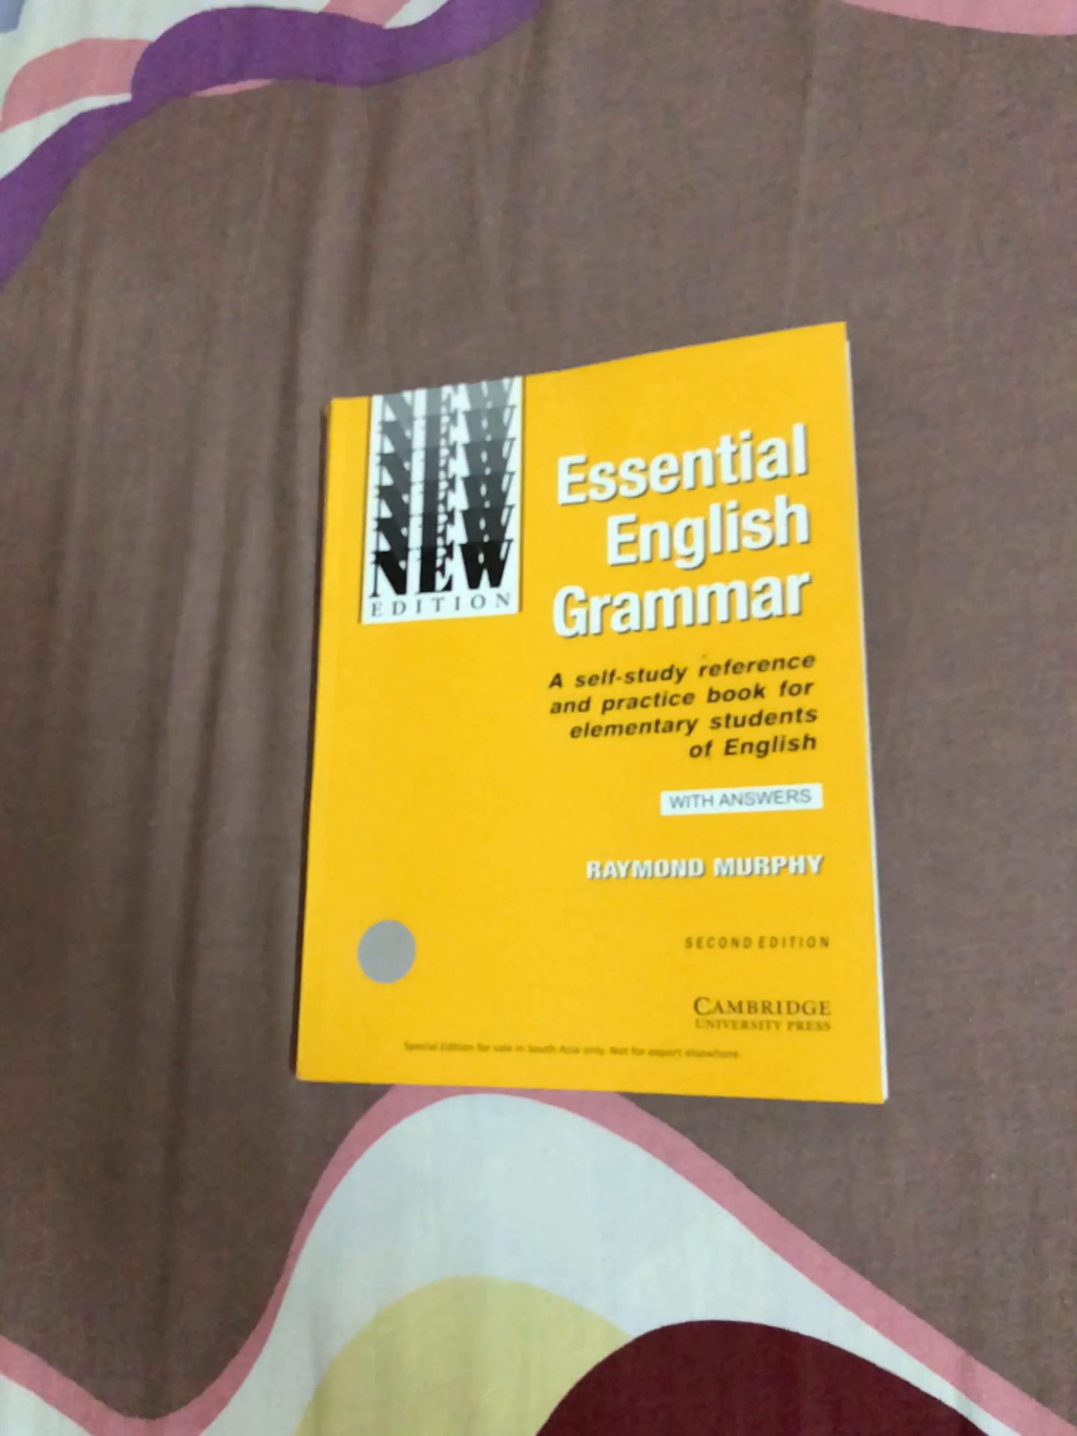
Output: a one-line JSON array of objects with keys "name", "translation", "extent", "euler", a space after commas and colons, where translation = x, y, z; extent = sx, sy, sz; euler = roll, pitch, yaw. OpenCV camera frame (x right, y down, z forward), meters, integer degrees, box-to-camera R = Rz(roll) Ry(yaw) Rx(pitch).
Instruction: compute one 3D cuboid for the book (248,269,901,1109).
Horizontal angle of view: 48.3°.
[{"name": "book", "translation": [0.012, -0.010, 0.388], "extent": [0.190, 0.040, 0.250], "euler": [-3, 75, 16]}]
